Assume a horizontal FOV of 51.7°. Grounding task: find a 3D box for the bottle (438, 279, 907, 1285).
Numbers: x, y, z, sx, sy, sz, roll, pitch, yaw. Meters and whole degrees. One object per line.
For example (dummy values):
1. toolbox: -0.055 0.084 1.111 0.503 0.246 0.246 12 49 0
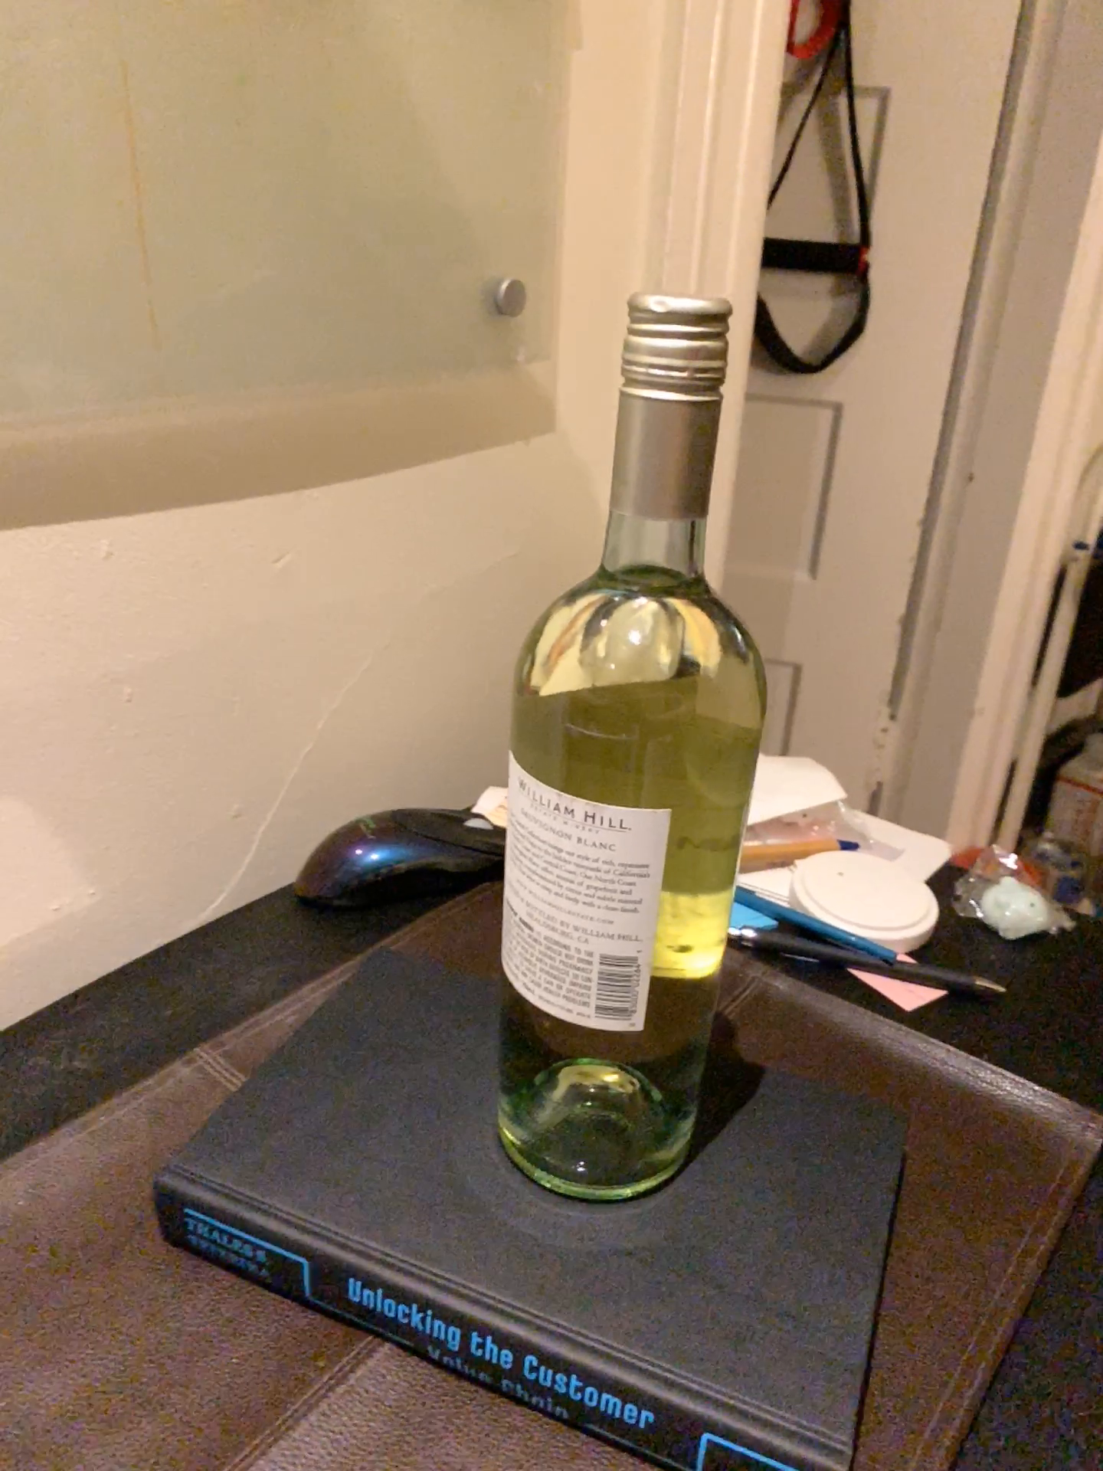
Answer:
1. bottle: 0.028 0.017 0.368 0.090 0.298 0.090 3 25 -1
